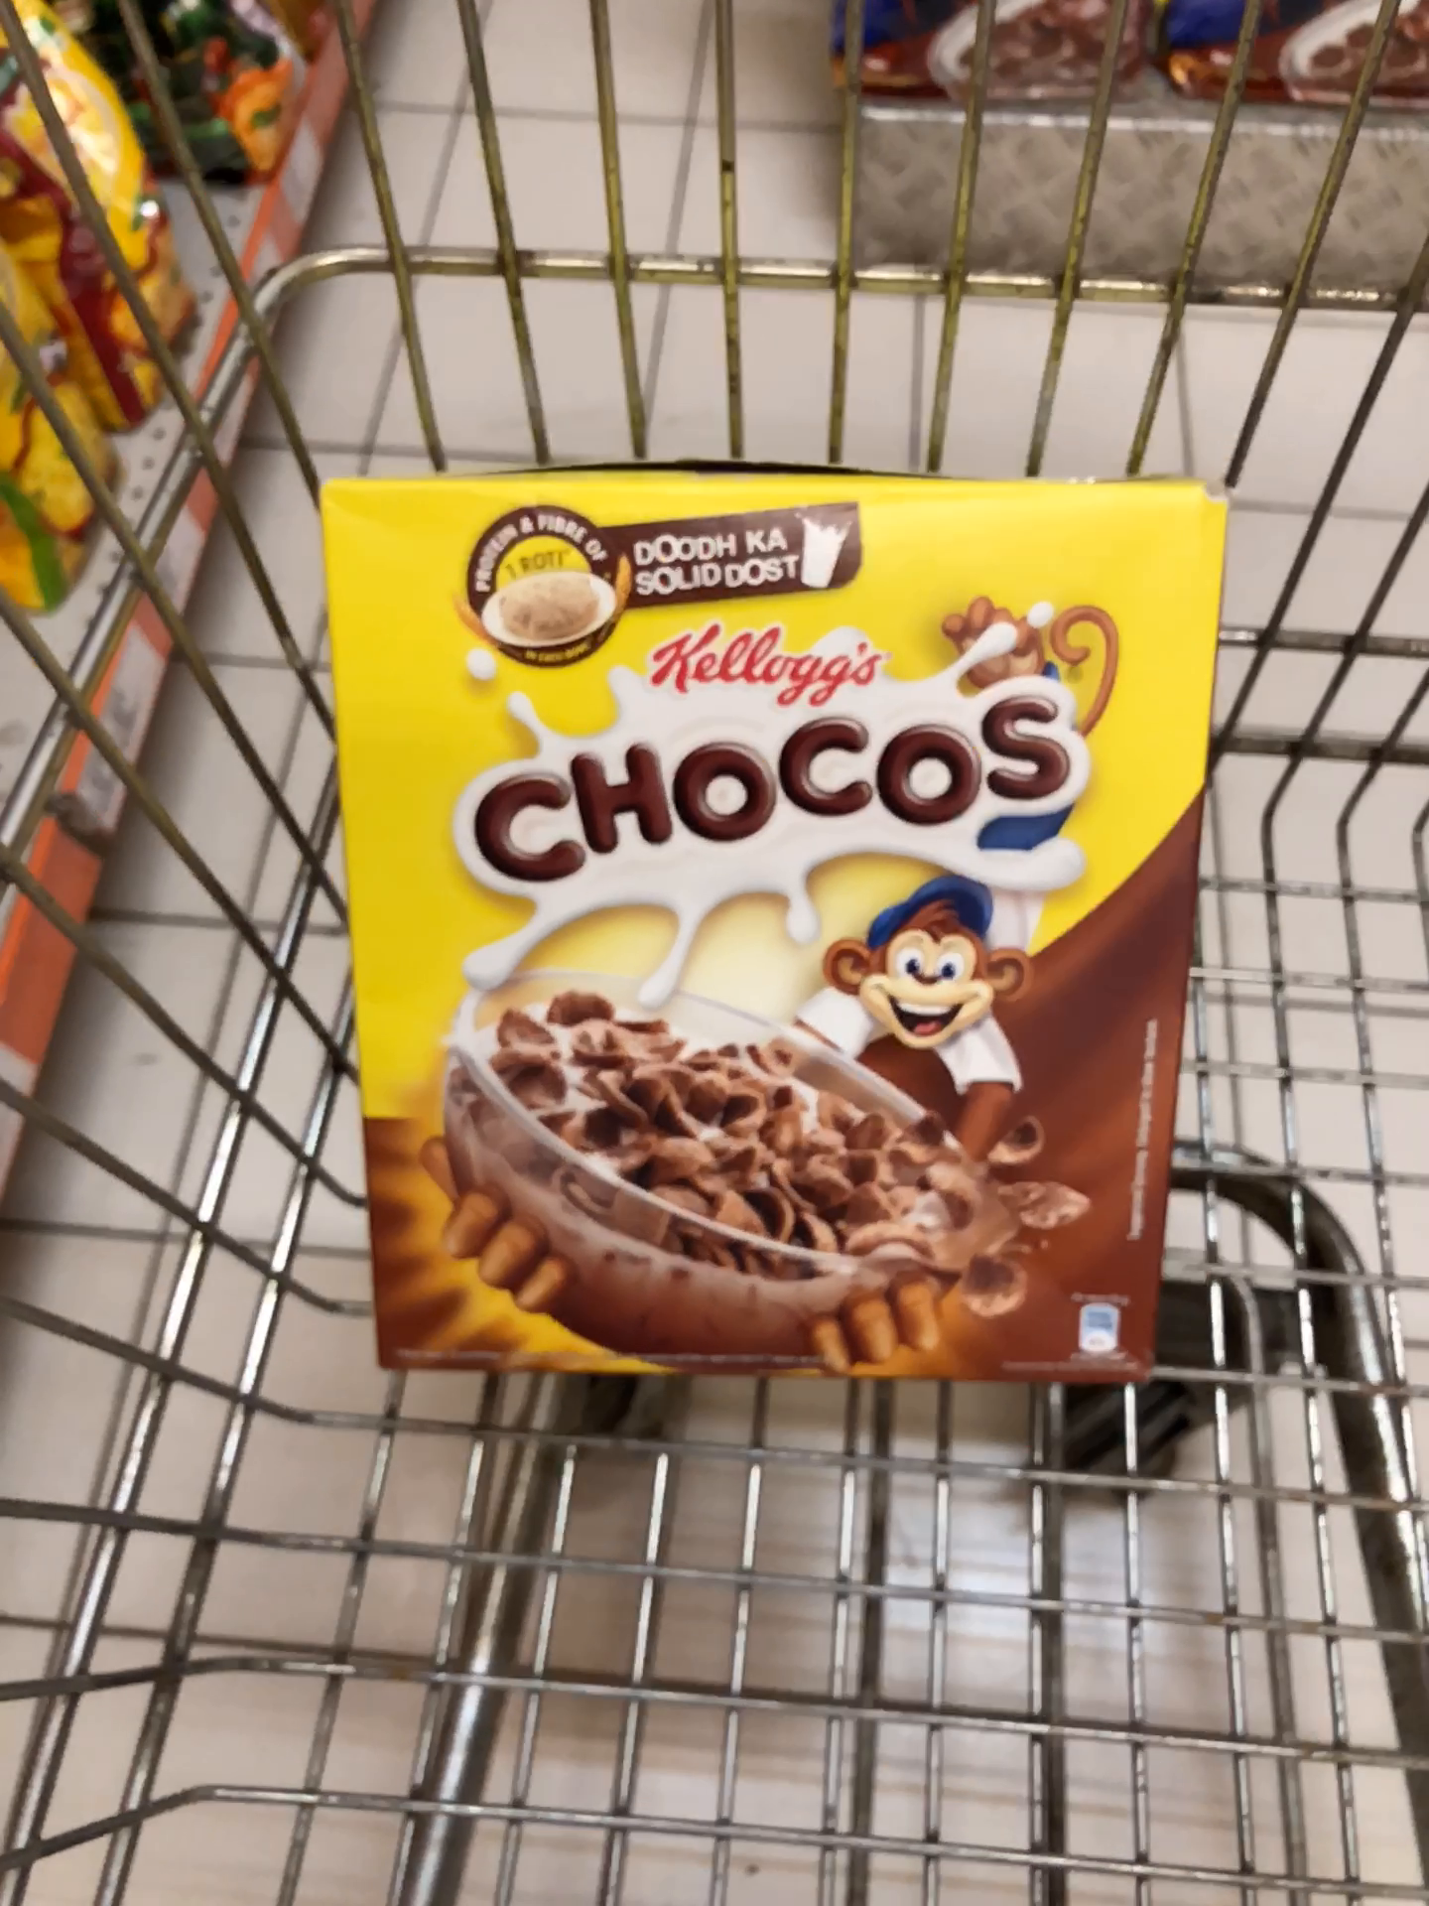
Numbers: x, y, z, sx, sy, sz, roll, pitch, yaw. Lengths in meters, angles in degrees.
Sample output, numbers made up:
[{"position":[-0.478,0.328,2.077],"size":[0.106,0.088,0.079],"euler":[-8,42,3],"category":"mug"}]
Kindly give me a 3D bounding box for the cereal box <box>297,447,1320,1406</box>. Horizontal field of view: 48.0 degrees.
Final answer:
[{"position":[0.017,-0.008,0.360],"size":[0.190,0.070,0.199],"euler":[1,106,1],"category":"cereal box"}]
